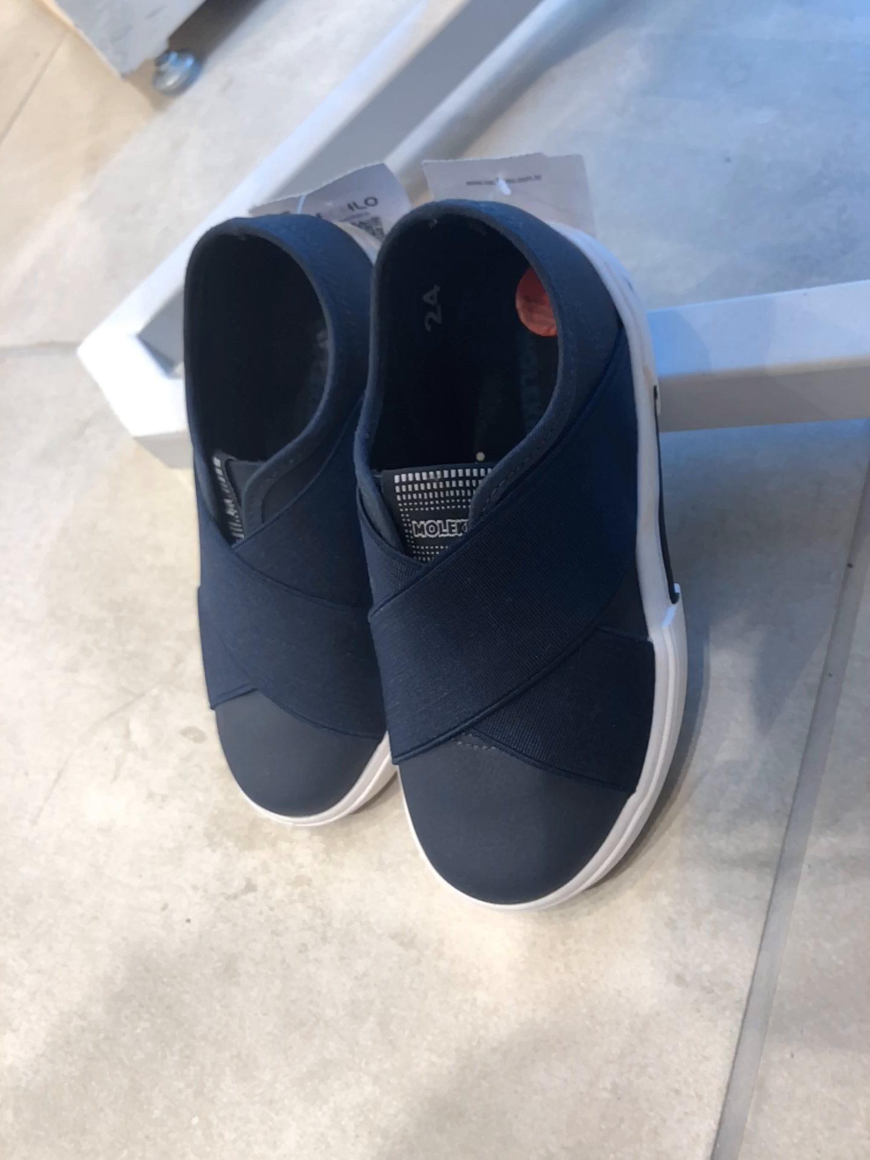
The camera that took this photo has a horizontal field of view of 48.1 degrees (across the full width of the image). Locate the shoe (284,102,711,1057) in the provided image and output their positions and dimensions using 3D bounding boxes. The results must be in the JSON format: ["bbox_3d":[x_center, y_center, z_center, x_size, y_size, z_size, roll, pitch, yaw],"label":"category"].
[{"bbox_3d":[0.019,0.000,0.231,0.070,0.070,0.180,1,96,32],"label":"shoe"}]

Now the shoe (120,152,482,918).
[{"bbox_3d":[-0.033,-0.012,0.275,0.070,0.070,0.180,3,98,28],"label":"shoe"}]
